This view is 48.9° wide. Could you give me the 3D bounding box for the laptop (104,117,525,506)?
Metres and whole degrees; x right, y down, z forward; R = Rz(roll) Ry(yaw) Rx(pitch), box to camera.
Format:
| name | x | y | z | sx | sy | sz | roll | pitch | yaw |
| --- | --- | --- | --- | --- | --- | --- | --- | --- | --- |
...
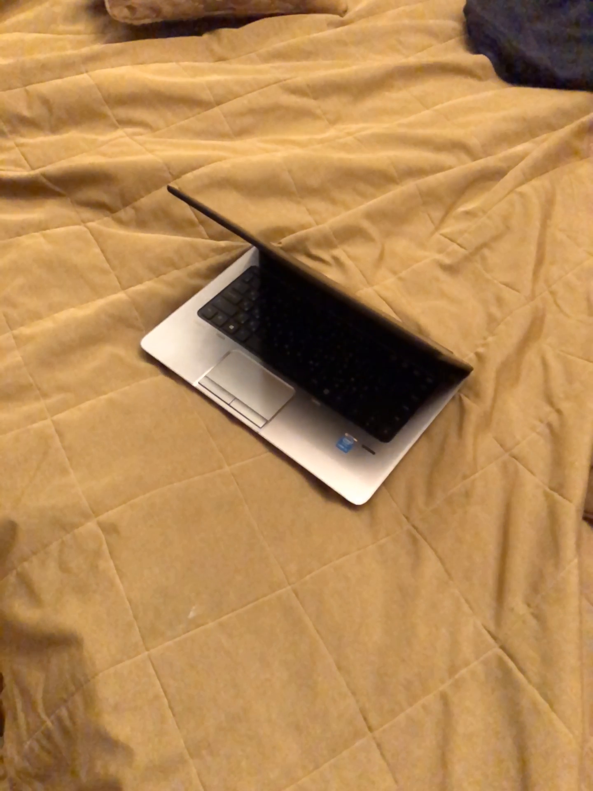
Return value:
| name | x | y | z | sx | sy | sz | roll | pitch | yaw |
| --- | --- | --- | --- | --- | --- | --- | --- | --- | --- |
| laptop | 0.014 | -0.096 | 0.701 | 0.331 | 0.189 | 0.225 | 34 | 63 | 18 |
